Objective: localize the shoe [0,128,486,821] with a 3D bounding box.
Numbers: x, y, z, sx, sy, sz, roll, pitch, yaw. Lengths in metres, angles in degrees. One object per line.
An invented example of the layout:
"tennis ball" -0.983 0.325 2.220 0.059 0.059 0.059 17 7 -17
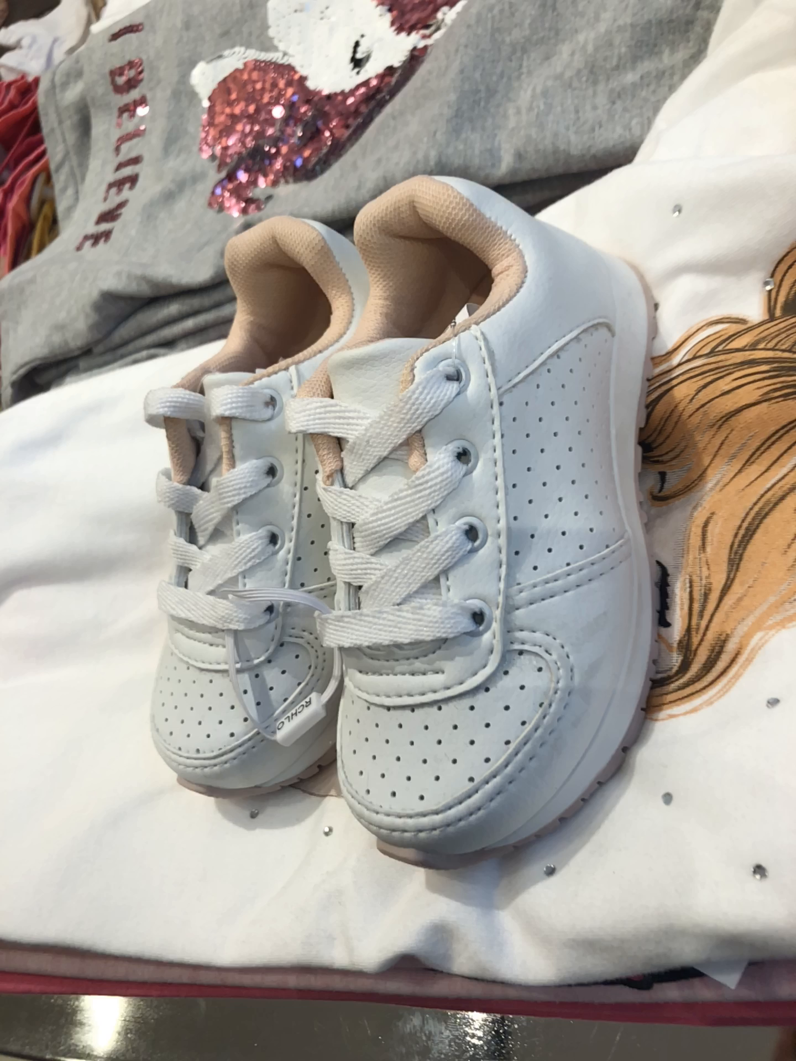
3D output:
"shoe" -0.043 -0.014 0.242 0.080 0.060 0.160 8 78 34

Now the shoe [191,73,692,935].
"shoe" 0.017 -0.005 0.203 0.080 0.060 0.160 -2 73 30
